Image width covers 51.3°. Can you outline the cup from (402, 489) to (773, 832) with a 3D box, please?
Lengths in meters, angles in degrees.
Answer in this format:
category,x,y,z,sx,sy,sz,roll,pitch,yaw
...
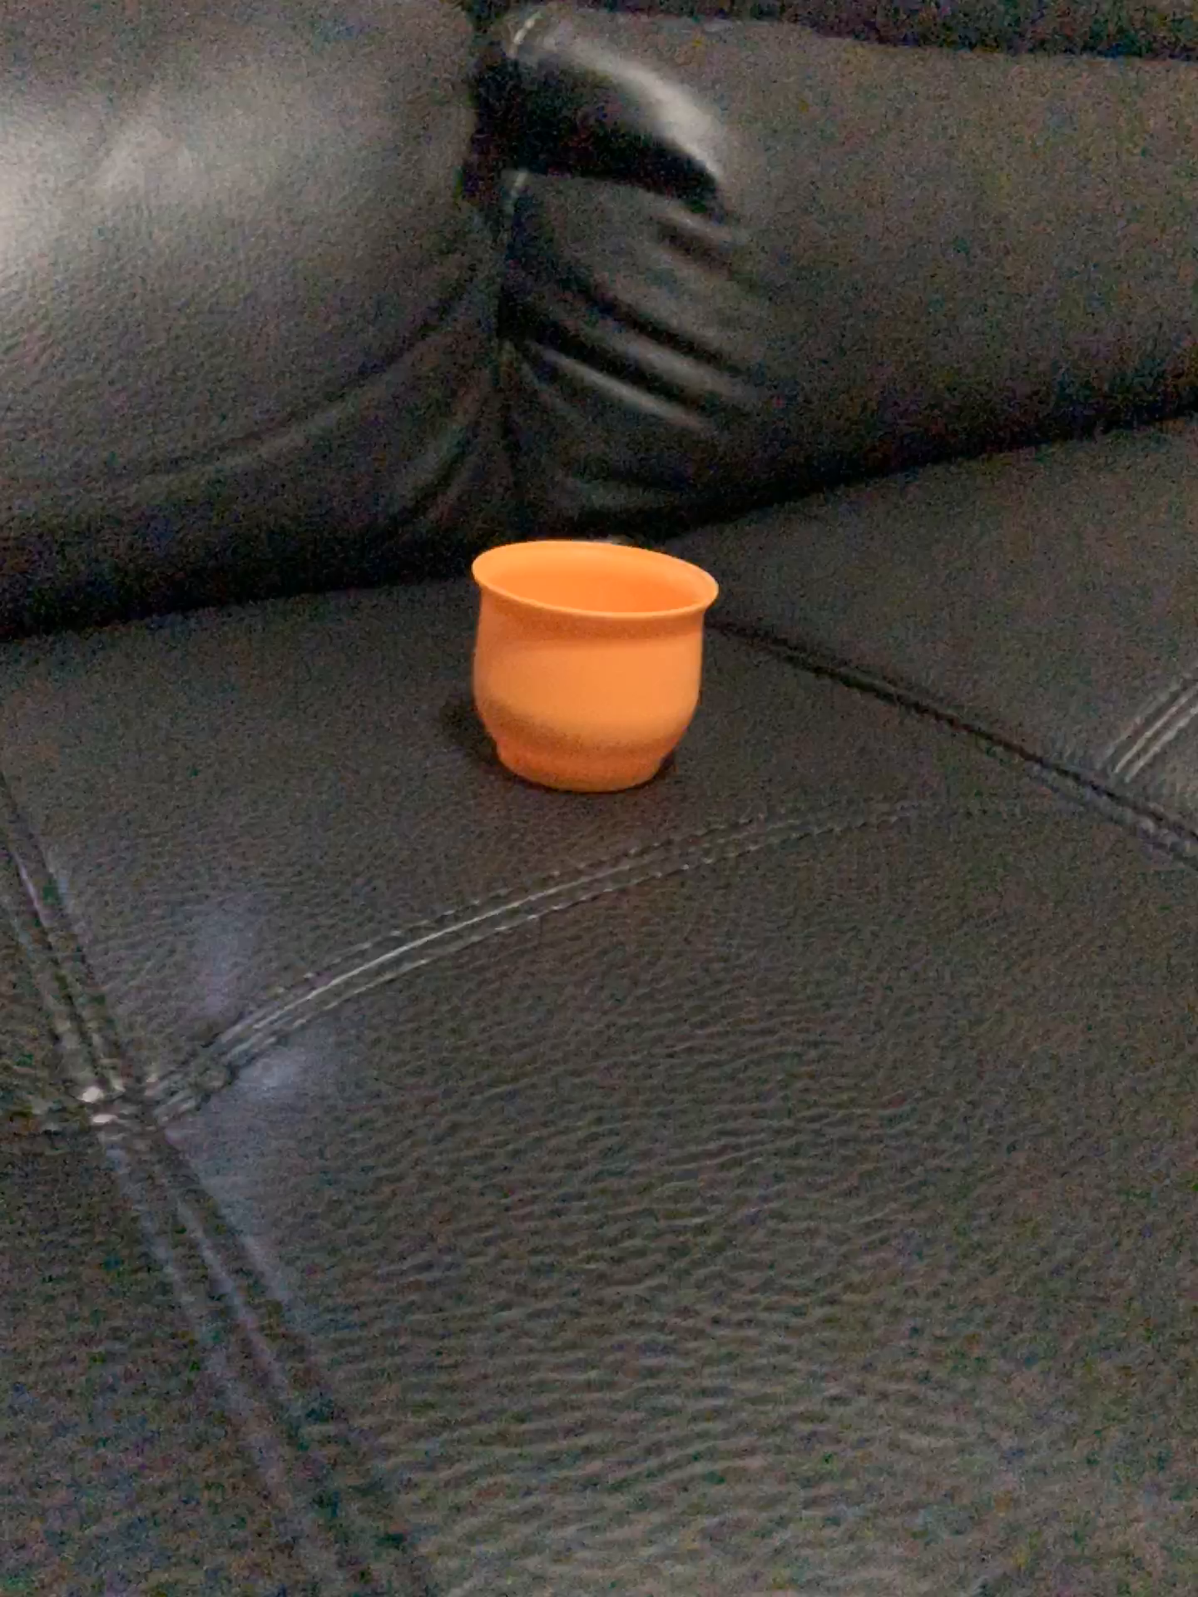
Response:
category,x,y,z,sx,sy,sz,roll,pitch,yaw
cup,-0.001,-0.038,0.305,0.063,0.046,0.081,15,30,14
